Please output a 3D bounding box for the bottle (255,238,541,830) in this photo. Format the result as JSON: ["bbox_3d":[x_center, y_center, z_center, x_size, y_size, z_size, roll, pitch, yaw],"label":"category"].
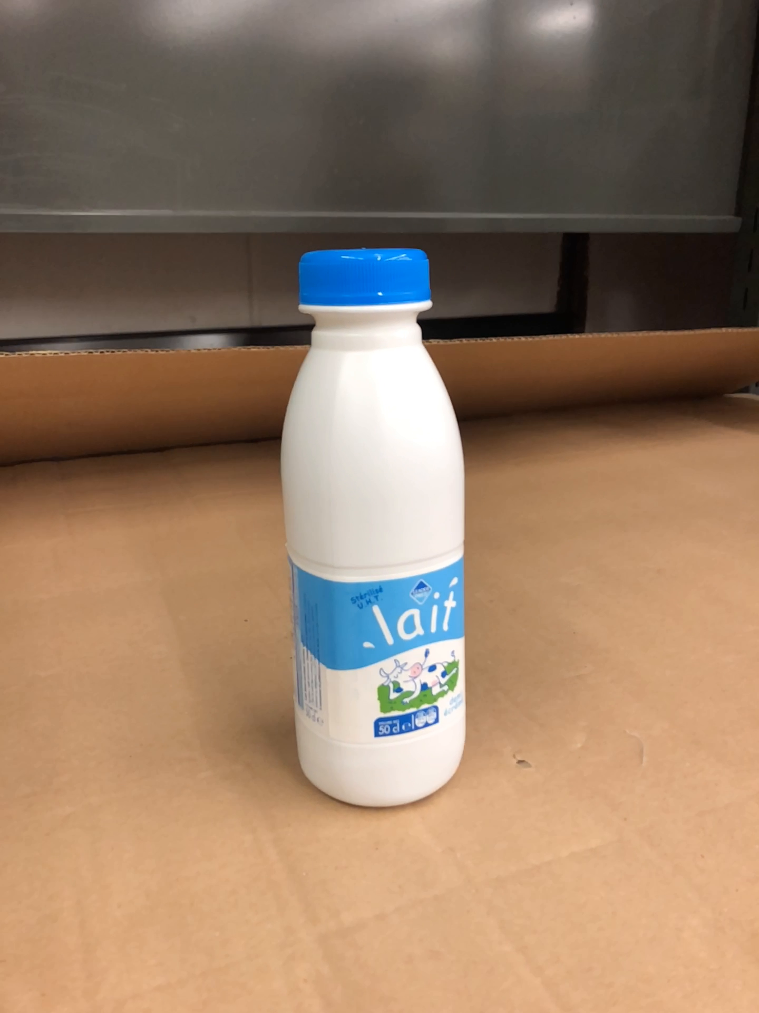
[{"bbox_3d":[0.003,0.004,0.297,0.070,0.189,0.070,0,18,0],"label":"bottle"}]
